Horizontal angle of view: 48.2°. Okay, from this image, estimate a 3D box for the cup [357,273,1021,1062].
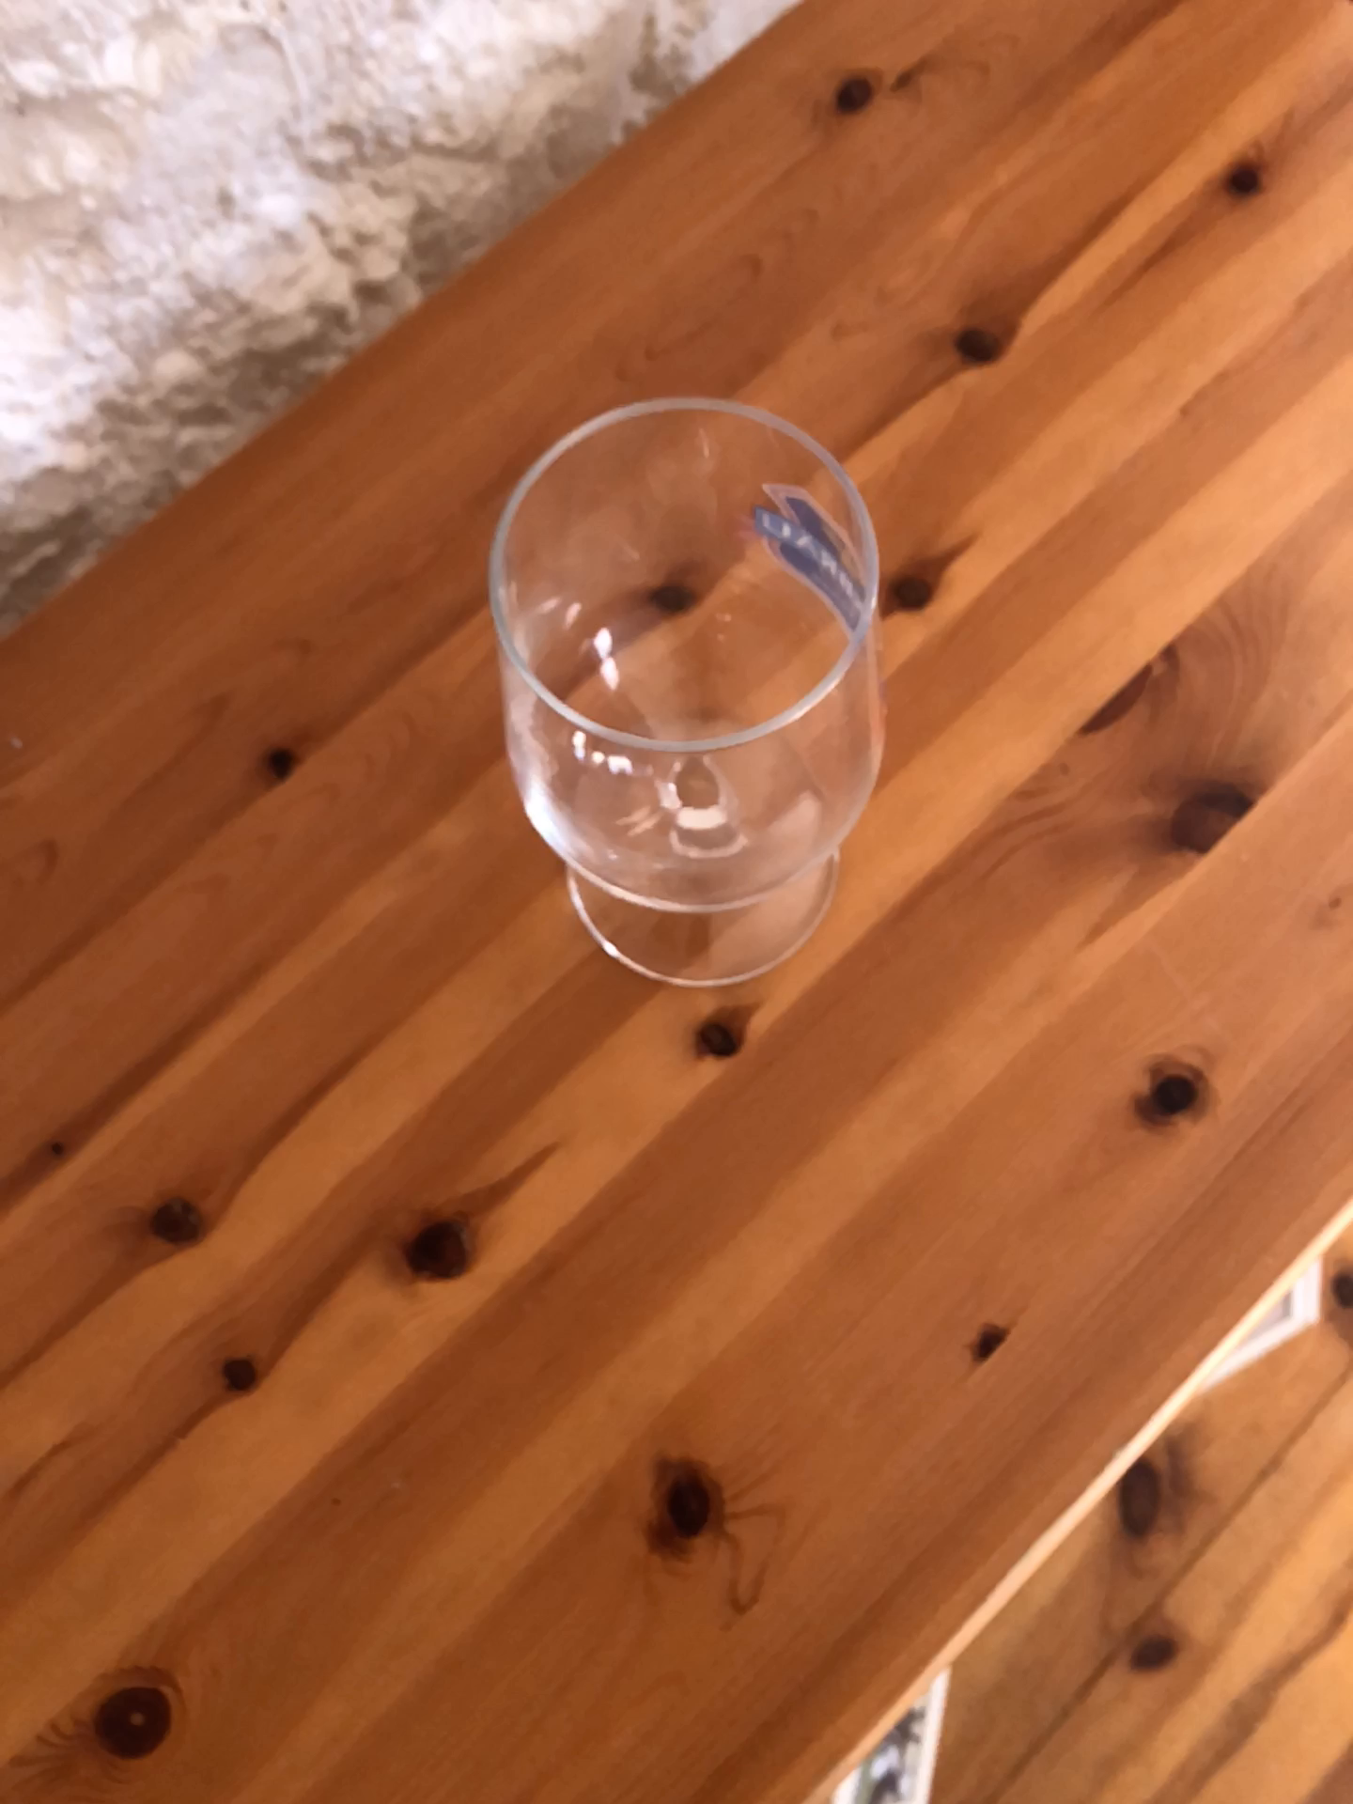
[{"bbox_3d":[0.004,-0.034,0.310,0.077,0.142,0.079,-1,72,3],"label":"cup"}]
